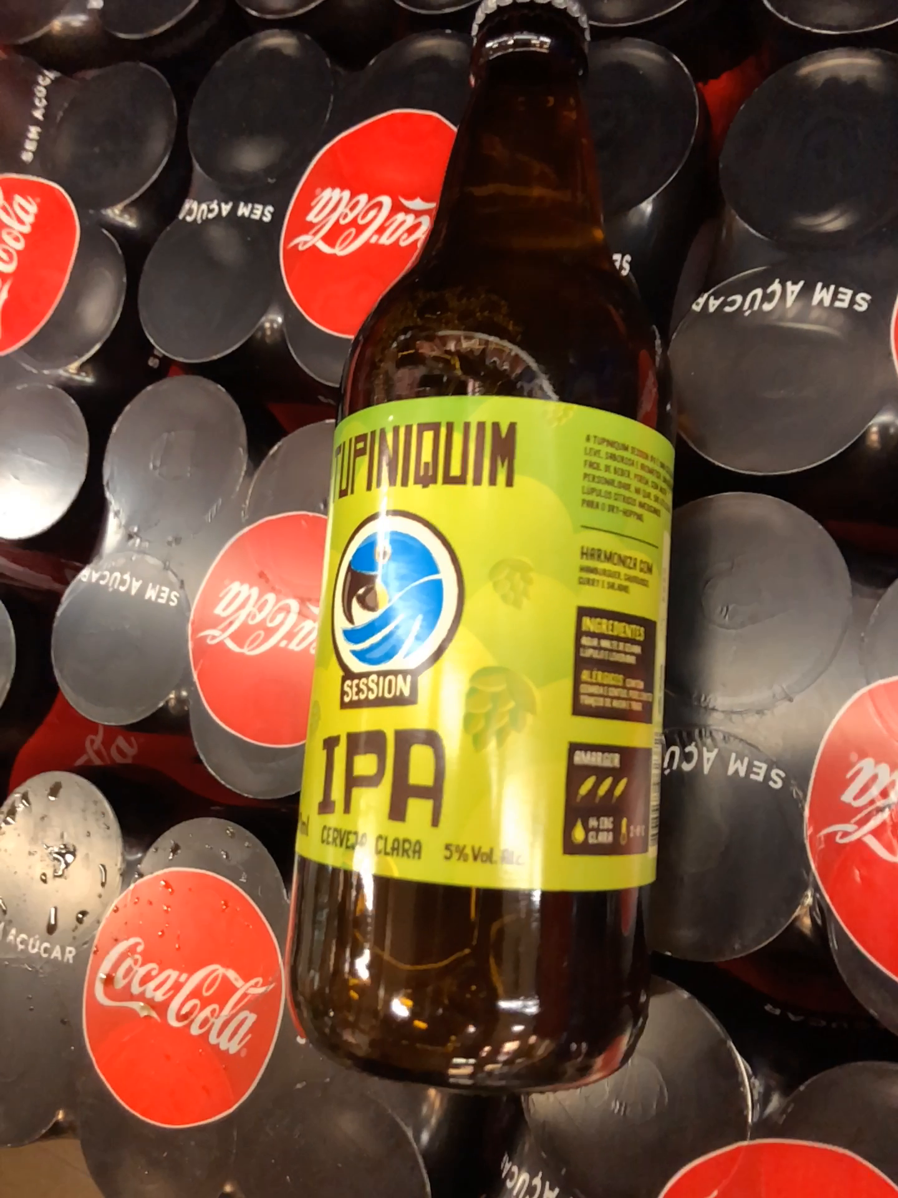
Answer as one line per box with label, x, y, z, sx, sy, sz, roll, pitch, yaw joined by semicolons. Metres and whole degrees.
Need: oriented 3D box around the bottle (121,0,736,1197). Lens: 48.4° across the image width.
bottle;0.006;-0.034;0.210;0.090;0.070;0.260;0;81;23
